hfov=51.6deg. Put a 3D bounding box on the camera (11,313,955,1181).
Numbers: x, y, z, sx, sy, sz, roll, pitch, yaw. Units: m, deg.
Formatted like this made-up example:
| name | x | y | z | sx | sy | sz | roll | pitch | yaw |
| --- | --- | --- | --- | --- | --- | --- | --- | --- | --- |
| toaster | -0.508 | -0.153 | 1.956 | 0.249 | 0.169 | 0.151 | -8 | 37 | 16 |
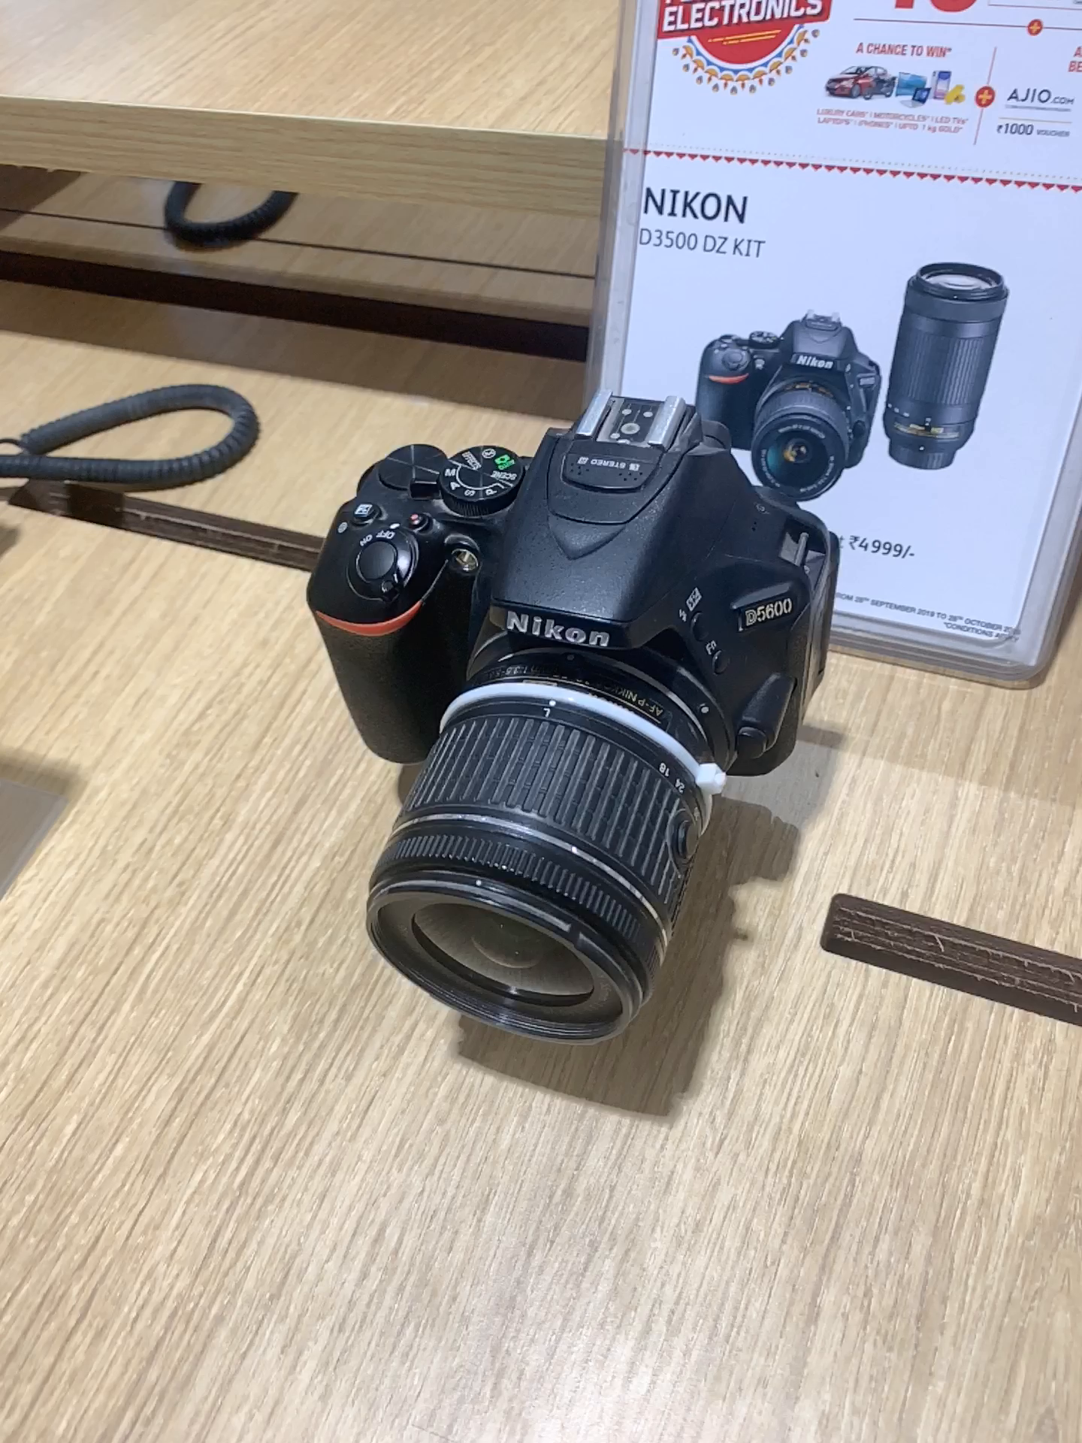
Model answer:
| name | x | y | z | sx | sy | sz | roll | pitch | yaw |
| --- | --- | --- | --- | --- | --- | --- | --- | --- | --- |
| camera | 0.001 | -0.001 | 0.234 | 0.130 | 0.100 | 0.120 | 14 | 55 | 19 |
